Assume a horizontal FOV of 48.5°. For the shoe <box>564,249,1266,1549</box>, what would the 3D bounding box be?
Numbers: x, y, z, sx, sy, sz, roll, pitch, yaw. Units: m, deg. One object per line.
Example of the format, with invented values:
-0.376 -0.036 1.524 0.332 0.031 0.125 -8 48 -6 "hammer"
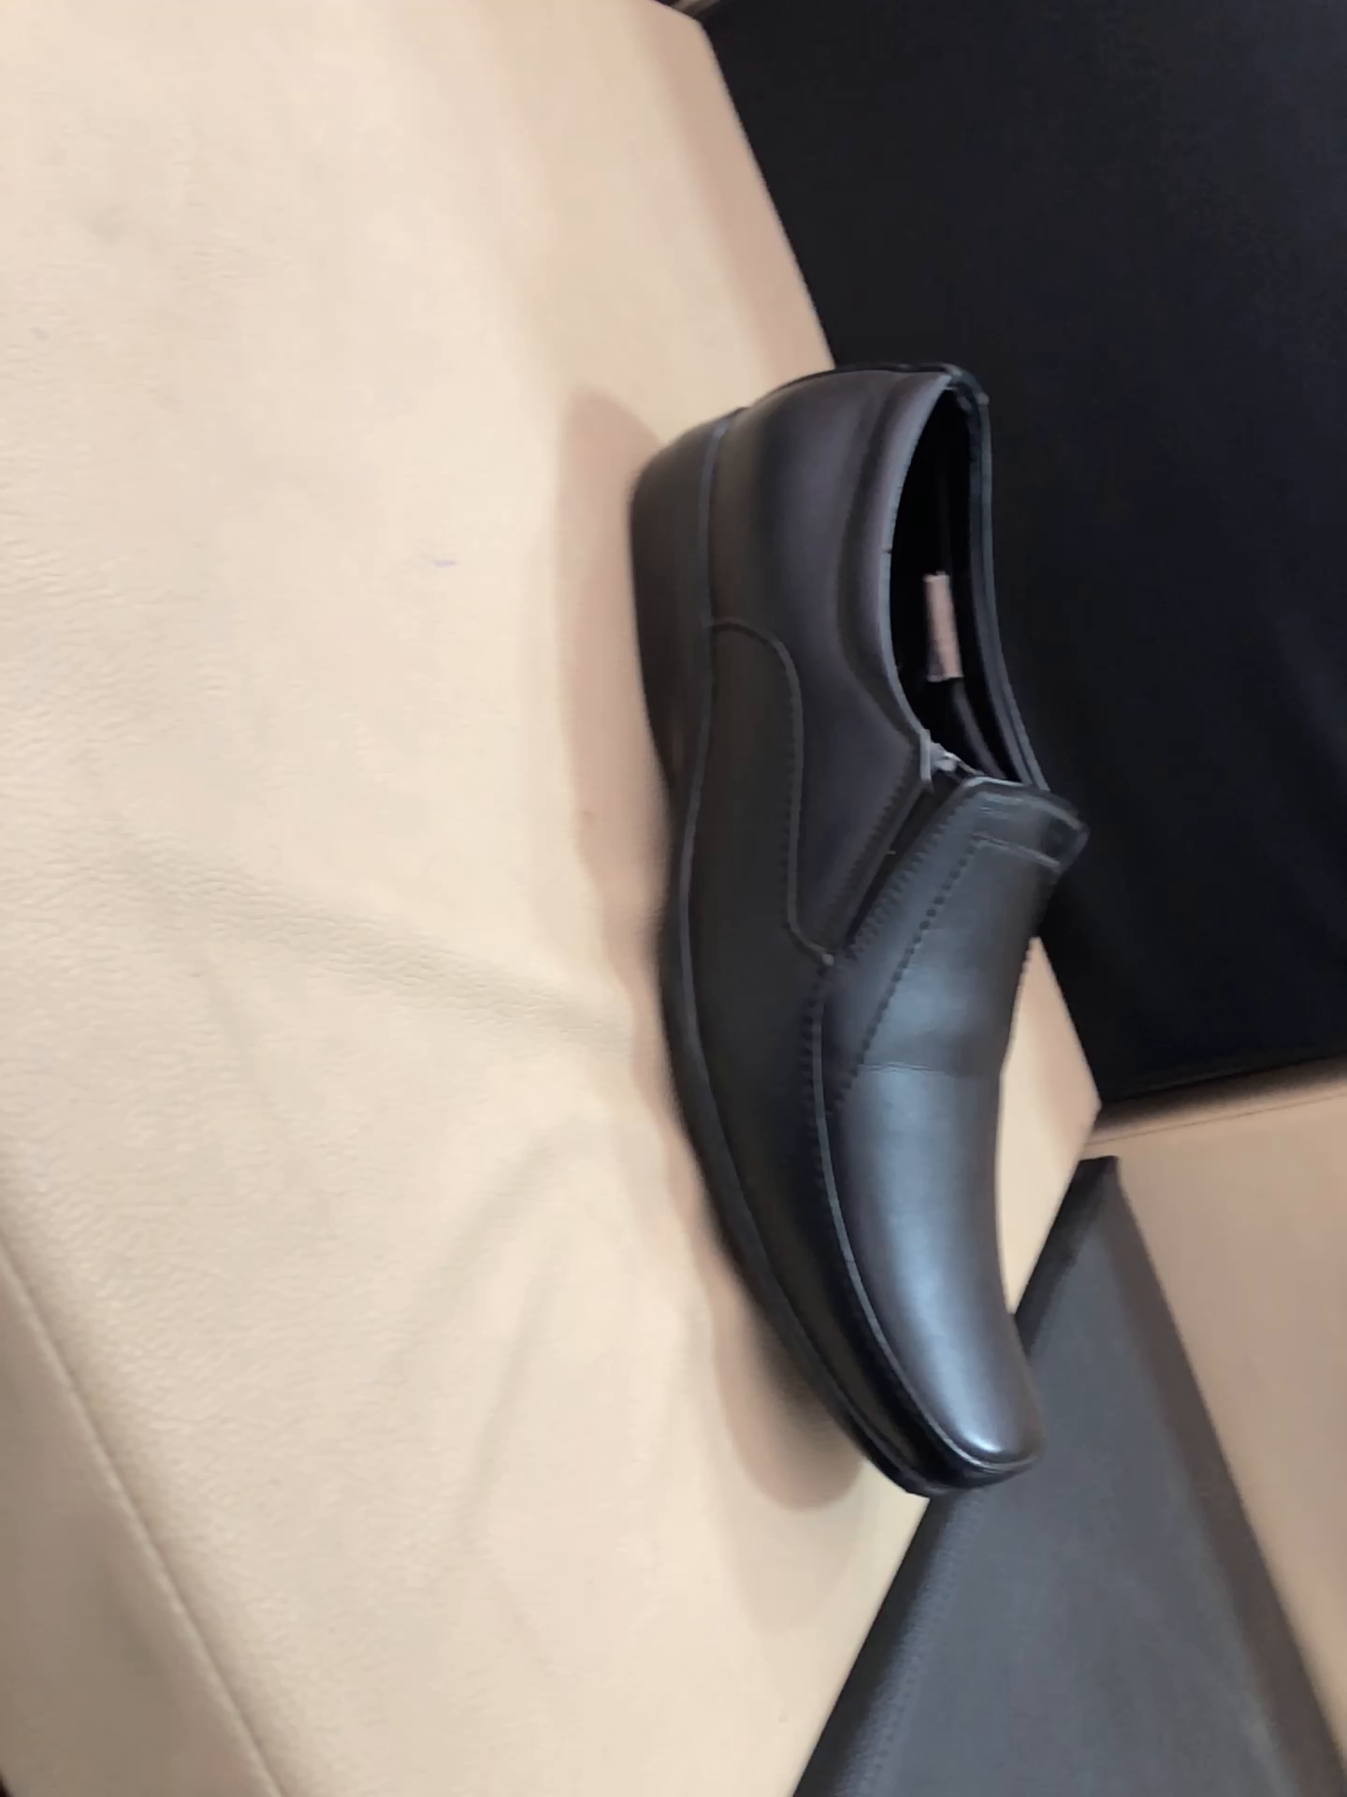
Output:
0.059 0.002 0.391 0.101 0.099 0.290 14 64 -56 "shoe"
